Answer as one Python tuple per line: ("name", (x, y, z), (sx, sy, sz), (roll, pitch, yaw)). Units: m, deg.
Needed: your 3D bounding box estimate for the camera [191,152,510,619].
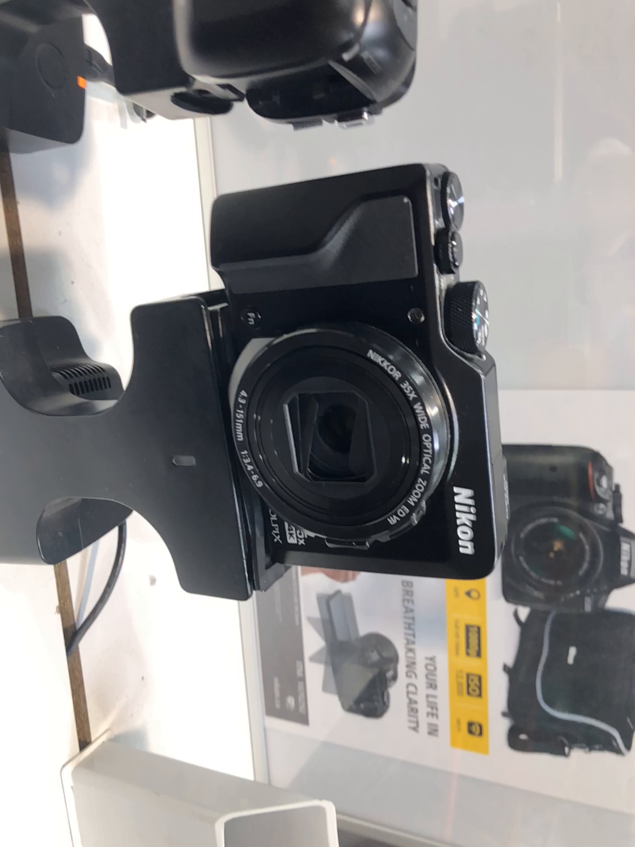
("camera", (0.016, -0.010, 0.201), (0.044, 0.069, 0.117), (-49, 136, -62))
